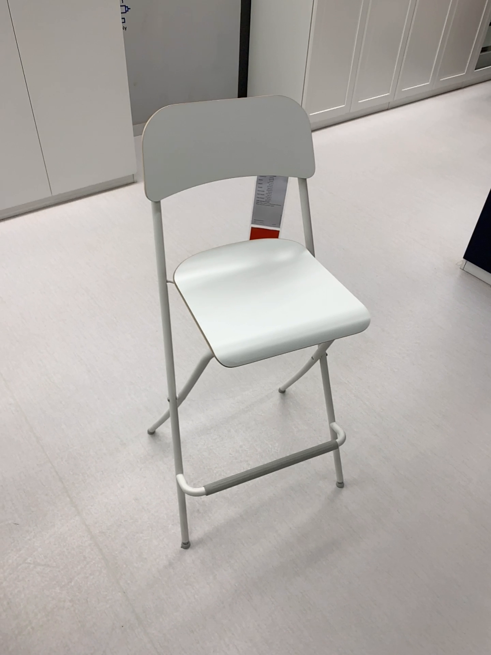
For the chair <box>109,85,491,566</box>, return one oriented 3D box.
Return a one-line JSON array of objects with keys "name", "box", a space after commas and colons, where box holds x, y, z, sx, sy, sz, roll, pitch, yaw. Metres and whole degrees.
[{"name": "chair", "box": [0.049, 0.029, 1.170, 0.520, 0.937, 0.502, -13, 46, -19]}]
